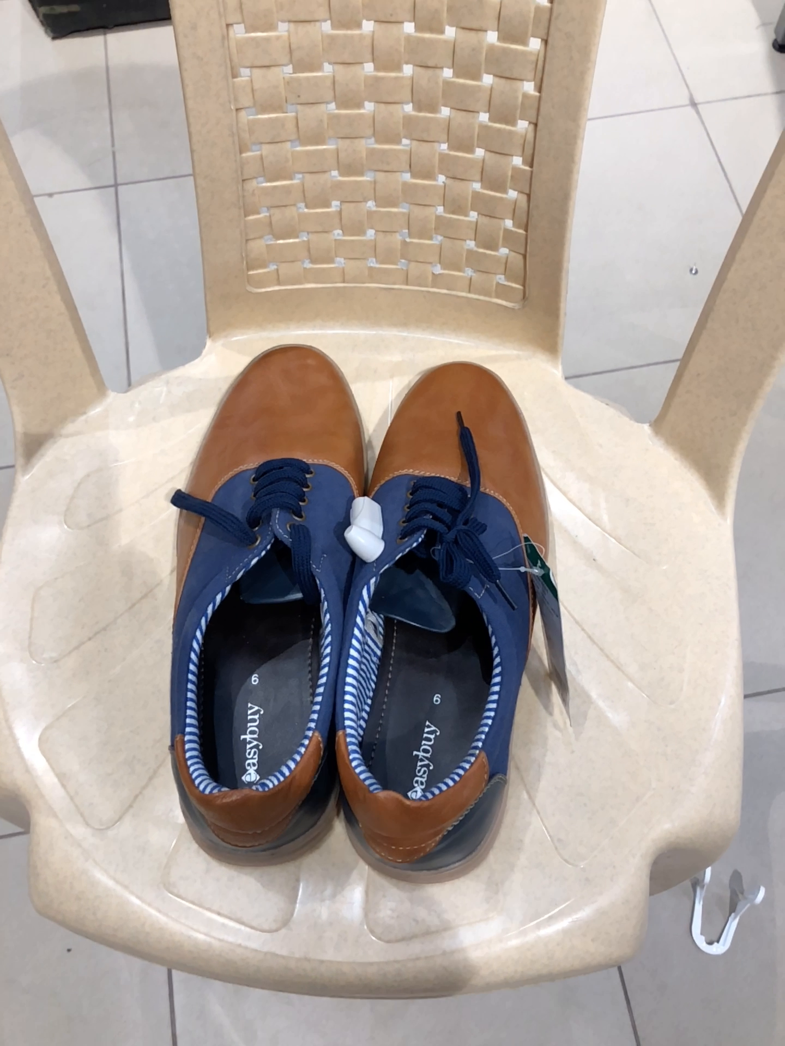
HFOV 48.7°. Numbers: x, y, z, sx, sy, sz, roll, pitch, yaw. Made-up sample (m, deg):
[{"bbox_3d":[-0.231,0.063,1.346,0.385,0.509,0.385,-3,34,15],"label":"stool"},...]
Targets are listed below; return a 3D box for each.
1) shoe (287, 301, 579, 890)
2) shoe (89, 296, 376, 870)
[{"bbox_3d":[0.026,0.036,0.419,0.103,0.120,0.252,5,67,3],"label":"shoe"},{"bbox_3d":[-0.065,0.030,0.424,0.103,0.113,0.254,-2,67,0],"label":"shoe"}]
